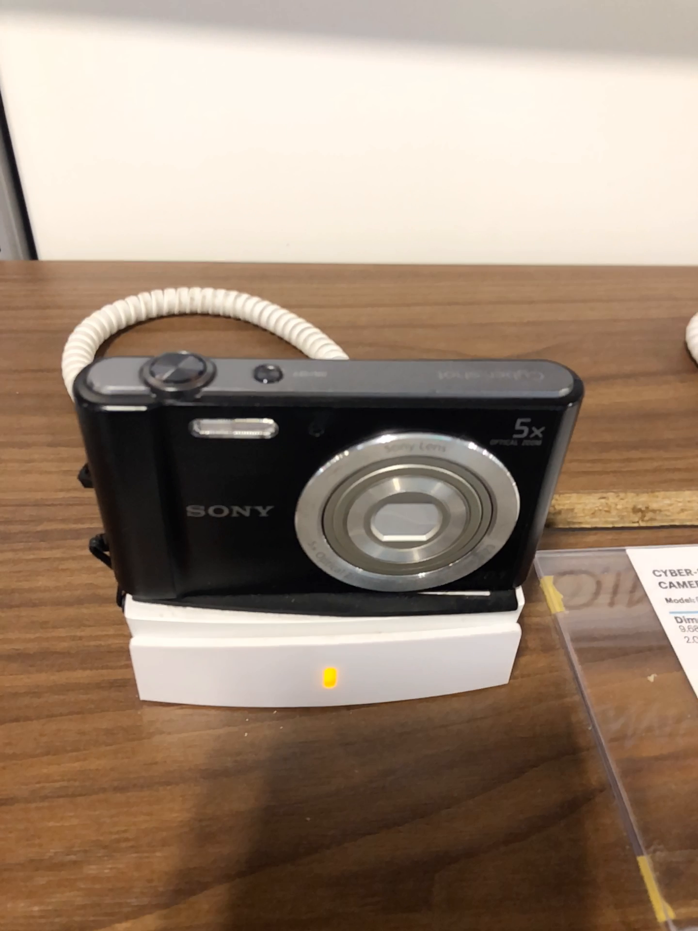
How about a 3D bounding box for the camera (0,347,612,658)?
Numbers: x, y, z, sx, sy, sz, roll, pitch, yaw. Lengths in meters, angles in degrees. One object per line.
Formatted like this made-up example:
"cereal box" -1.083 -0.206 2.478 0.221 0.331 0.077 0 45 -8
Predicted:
"camera" -0.009 0.008 0.150 0.100 0.050 0.030 2 38 -2
